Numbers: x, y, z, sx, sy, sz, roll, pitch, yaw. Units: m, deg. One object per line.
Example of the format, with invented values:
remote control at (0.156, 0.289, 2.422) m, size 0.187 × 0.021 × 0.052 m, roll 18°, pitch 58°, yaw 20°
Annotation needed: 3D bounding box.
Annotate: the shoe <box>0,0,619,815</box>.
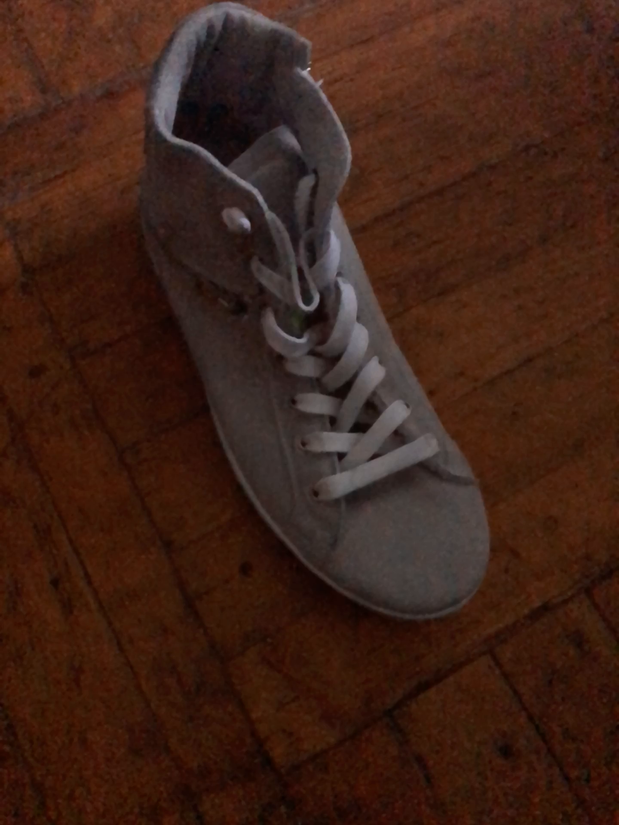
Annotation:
shoe at (0.003, -0.025, 0.336) m, size 0.130 × 0.220 × 0.310 m, roll -24°, pitch 76°, yaw -4°
